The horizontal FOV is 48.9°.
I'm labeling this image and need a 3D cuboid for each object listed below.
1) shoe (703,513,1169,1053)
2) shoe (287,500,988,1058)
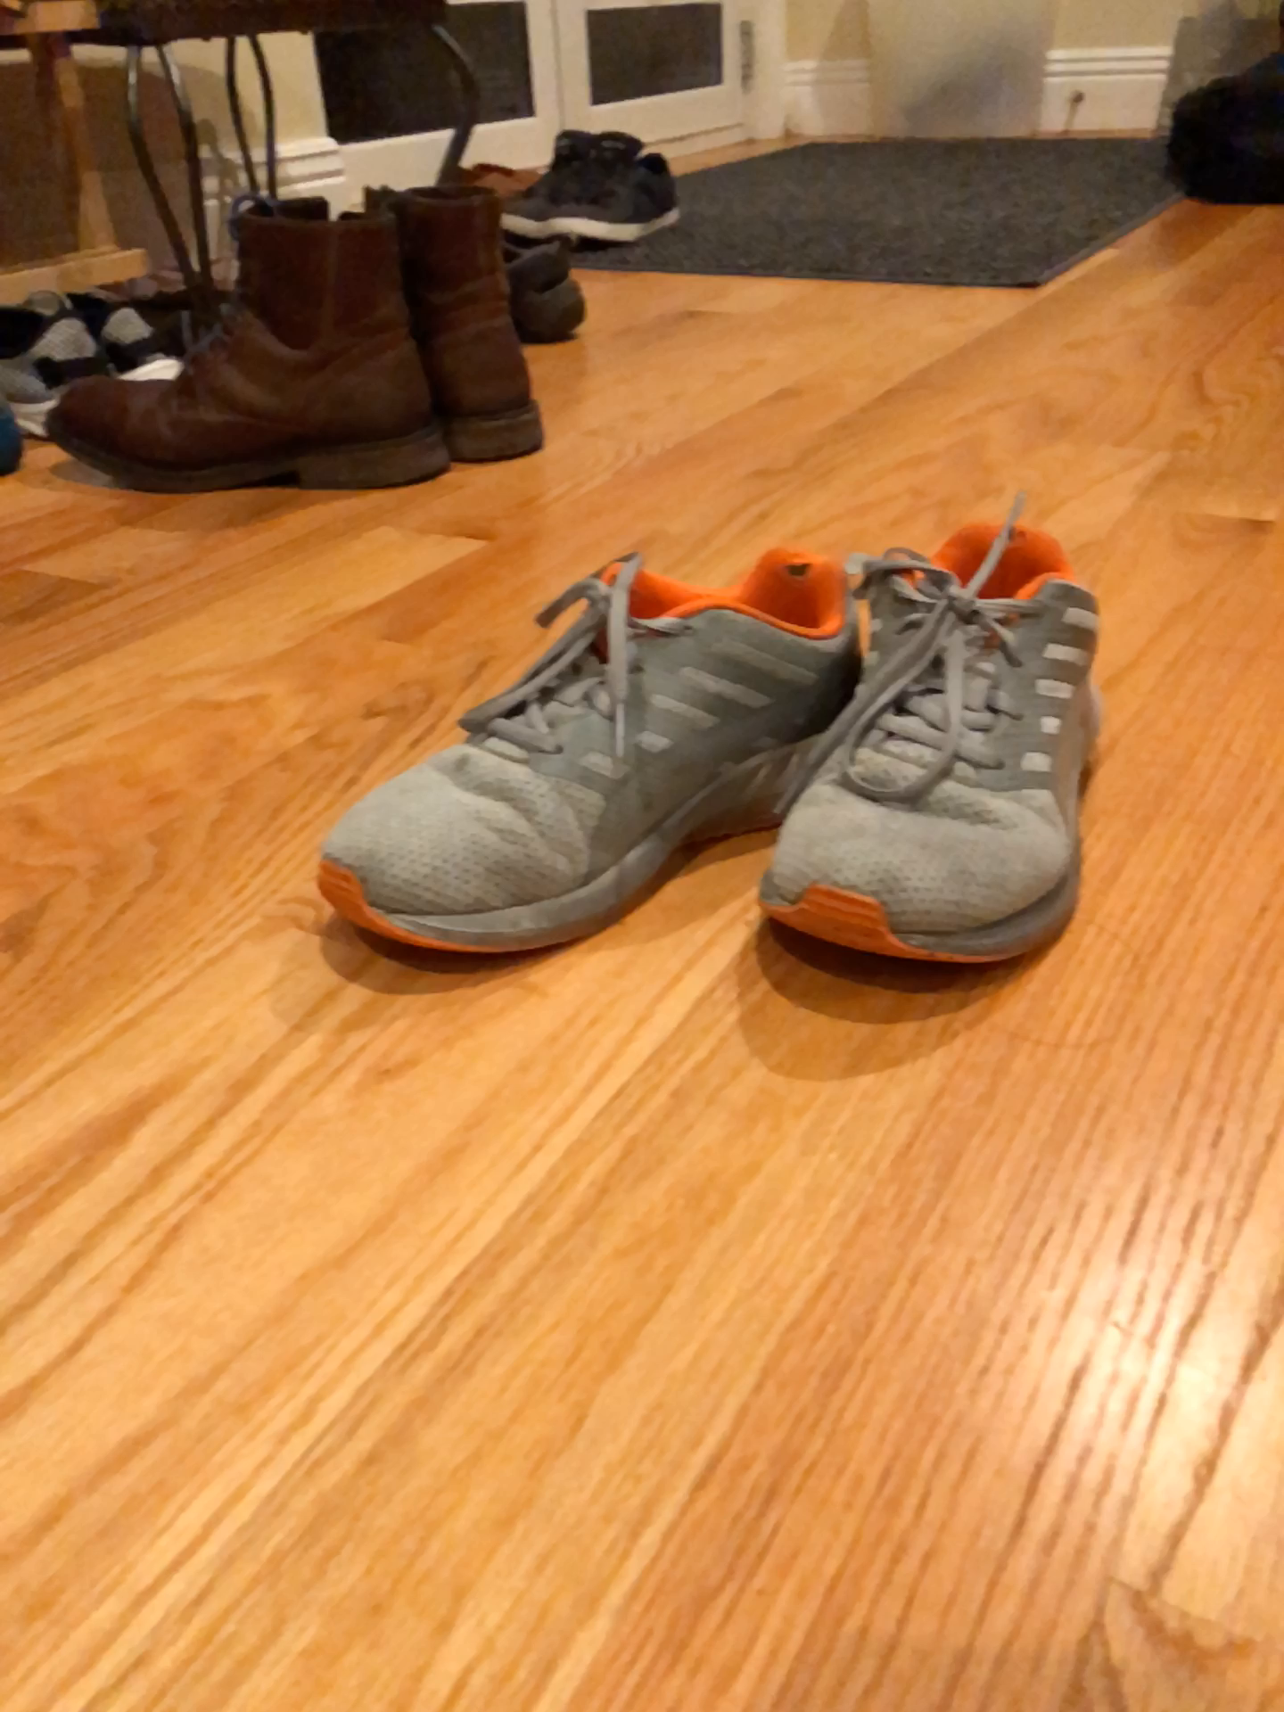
[{"bbox_3d":[0.119,-0.046,0.519,0.110,0.080,0.251,10,33,21],"label":"shoe"},{"bbox_3d":[0.011,-0.045,0.526,0.251,0.099,0.100,-29,39,-36],"label":"shoe"}]
